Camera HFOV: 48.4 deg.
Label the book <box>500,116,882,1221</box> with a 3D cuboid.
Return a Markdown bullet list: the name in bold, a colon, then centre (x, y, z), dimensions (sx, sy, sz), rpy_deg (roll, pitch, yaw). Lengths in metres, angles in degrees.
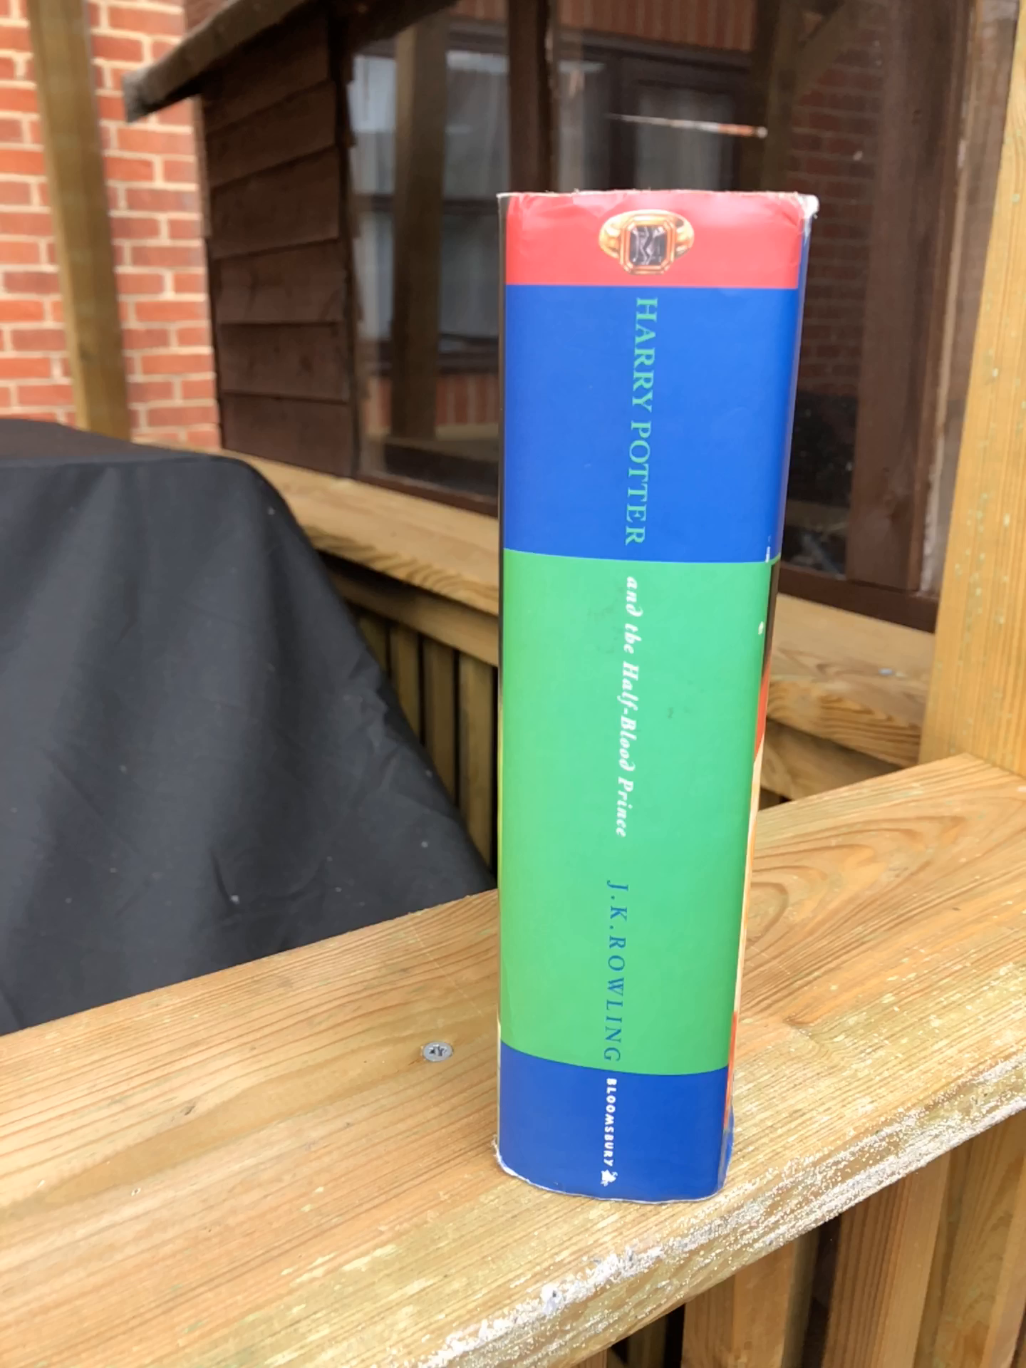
- **book**: centre (0.039, -0.011, 0.279), dimensions (0.060, 0.209, 0.141), rpy_deg (3, 17, 9)
